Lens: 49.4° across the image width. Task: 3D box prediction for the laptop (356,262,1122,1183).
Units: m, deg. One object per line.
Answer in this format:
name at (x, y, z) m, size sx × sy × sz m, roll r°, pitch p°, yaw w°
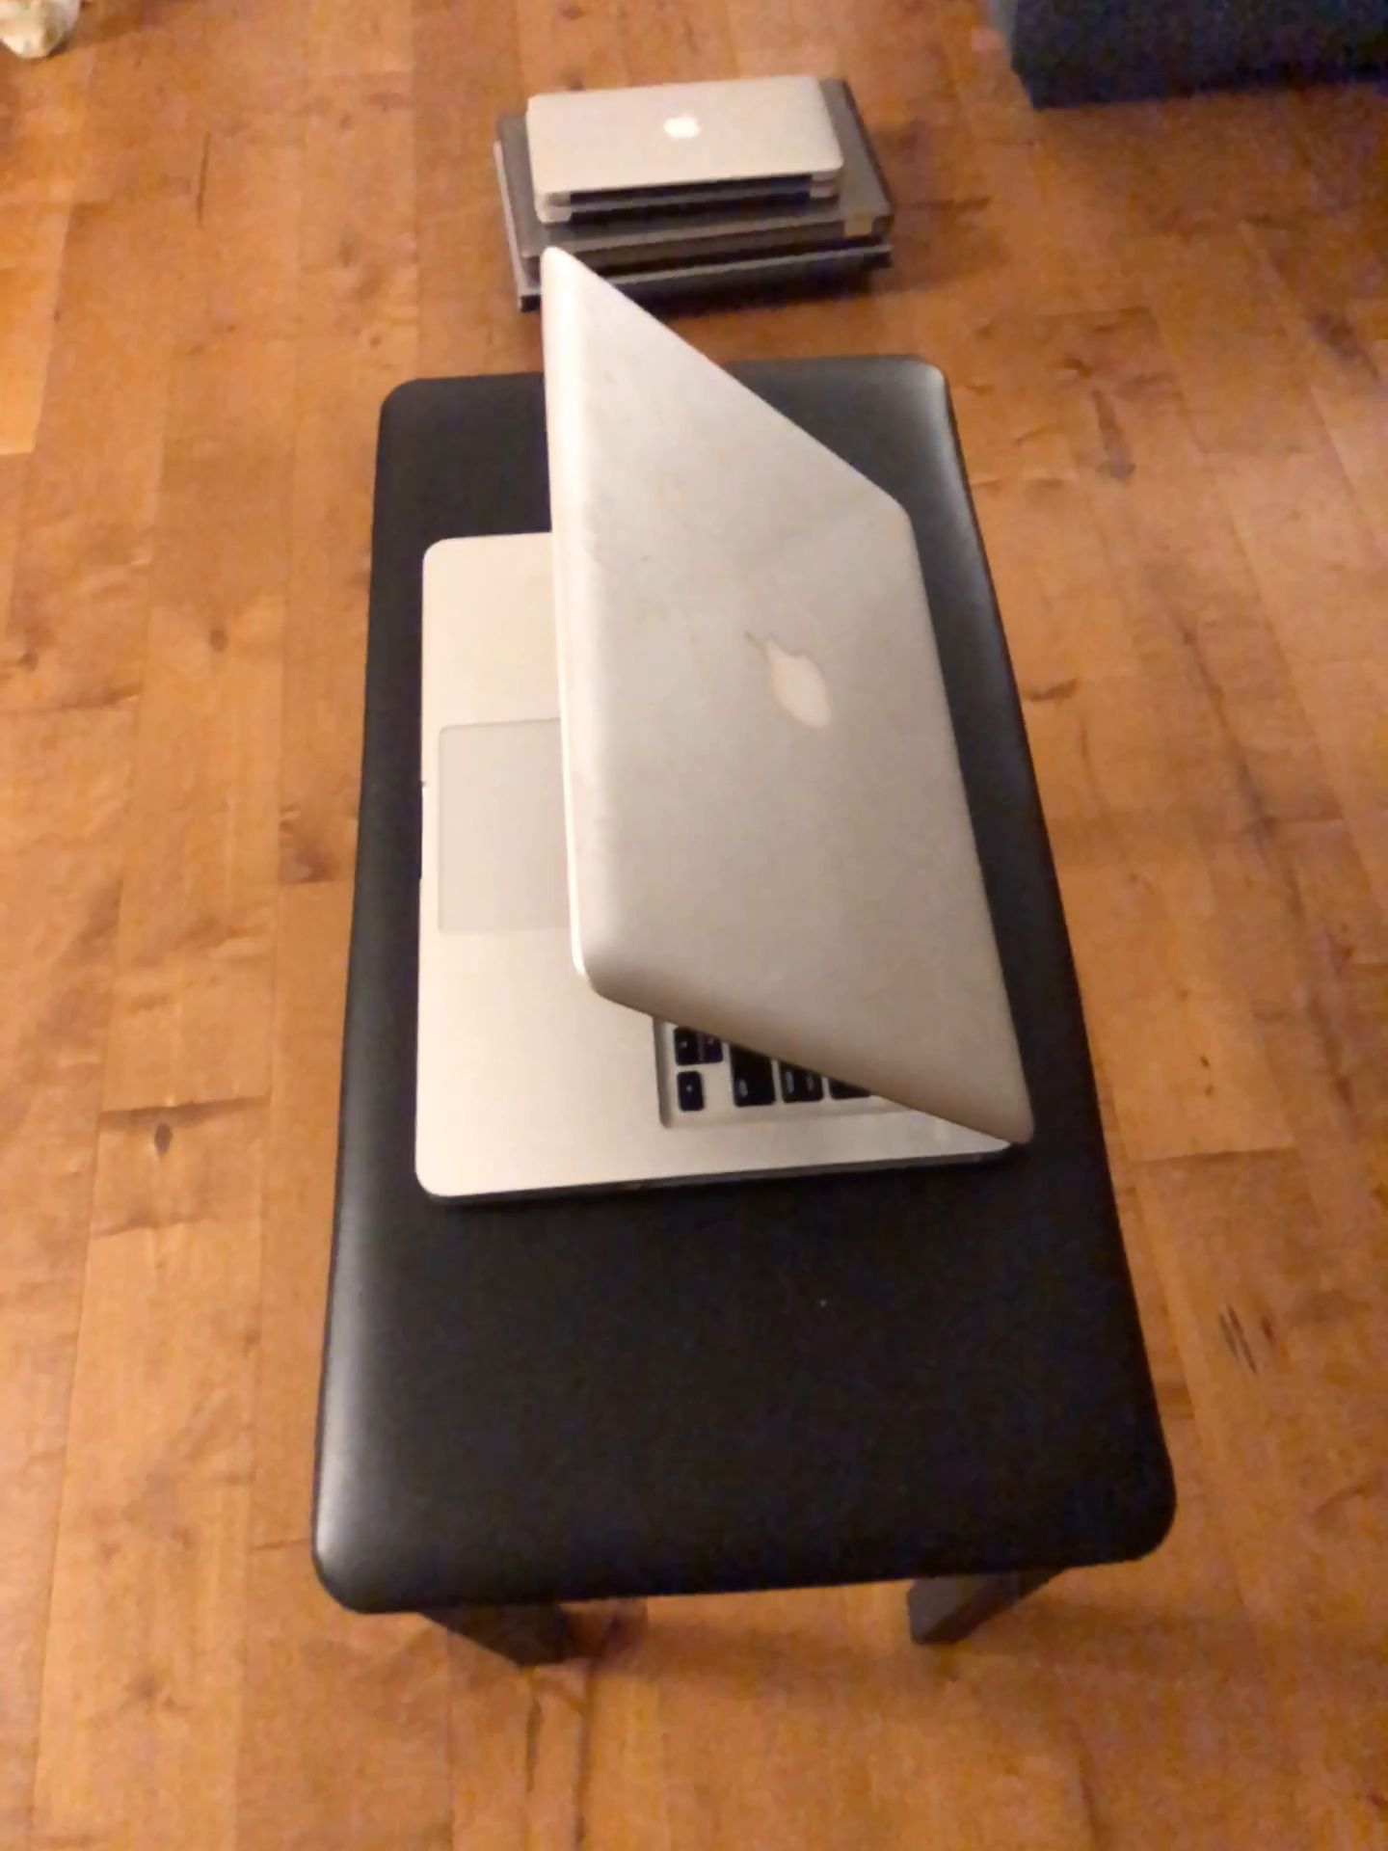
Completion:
laptop at (0.009, -0.083, 0.558) m, size 0.208 × 0.144 × 0.311 m, roll -3°, pitch 57°, yaw 0°
